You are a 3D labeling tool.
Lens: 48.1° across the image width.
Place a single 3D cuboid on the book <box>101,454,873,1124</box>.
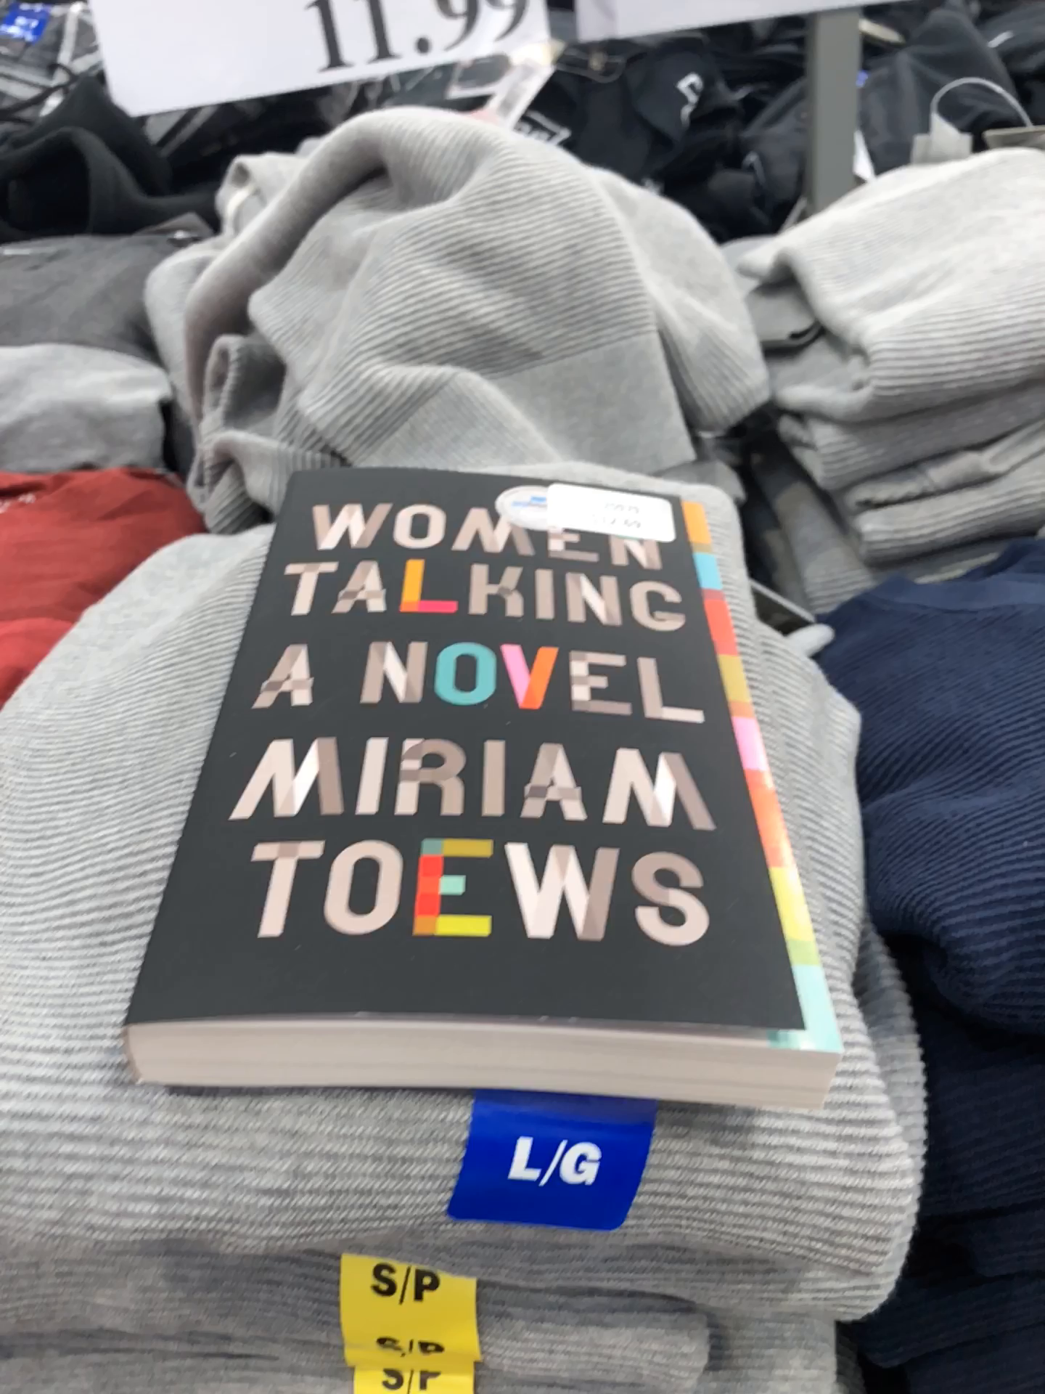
[{"bbox_3d":[-0.006,0.002,0.292,0.135,0.020,0.211,2,40,-2],"label":"book"}]
